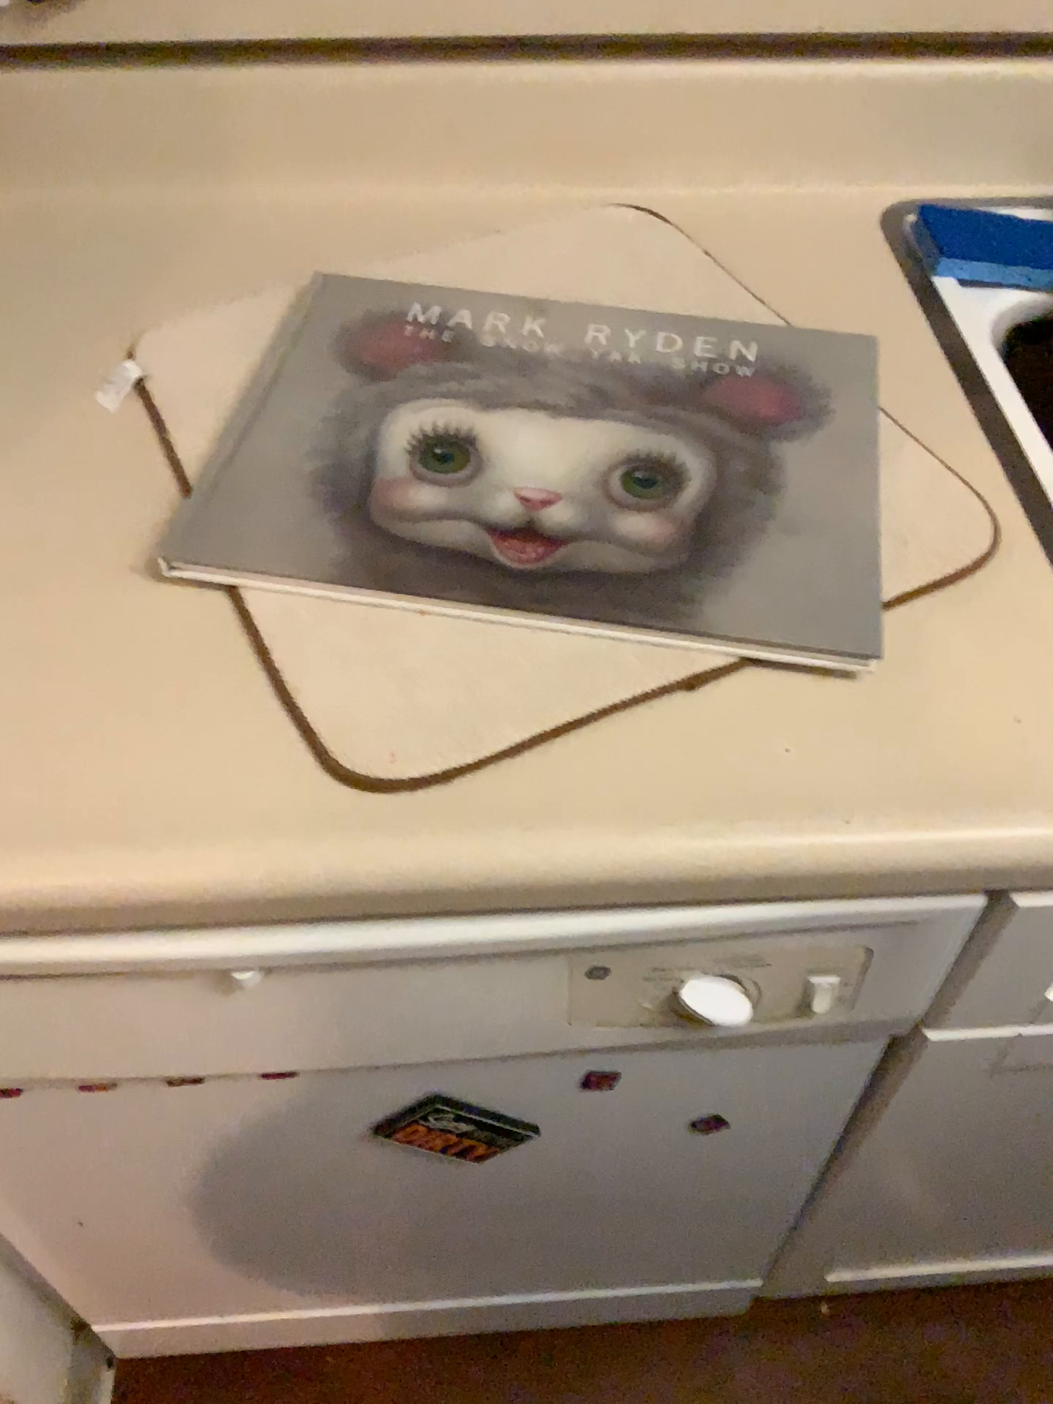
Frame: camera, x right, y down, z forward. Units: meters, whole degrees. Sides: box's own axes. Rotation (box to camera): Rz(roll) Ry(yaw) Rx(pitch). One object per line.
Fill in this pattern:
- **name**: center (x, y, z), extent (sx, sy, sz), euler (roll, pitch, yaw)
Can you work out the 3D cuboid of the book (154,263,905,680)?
- **book**: center (0.021, -0.153, 0.684), extent (0.380, 0.020, 0.290), euler (8, 50, 6)
